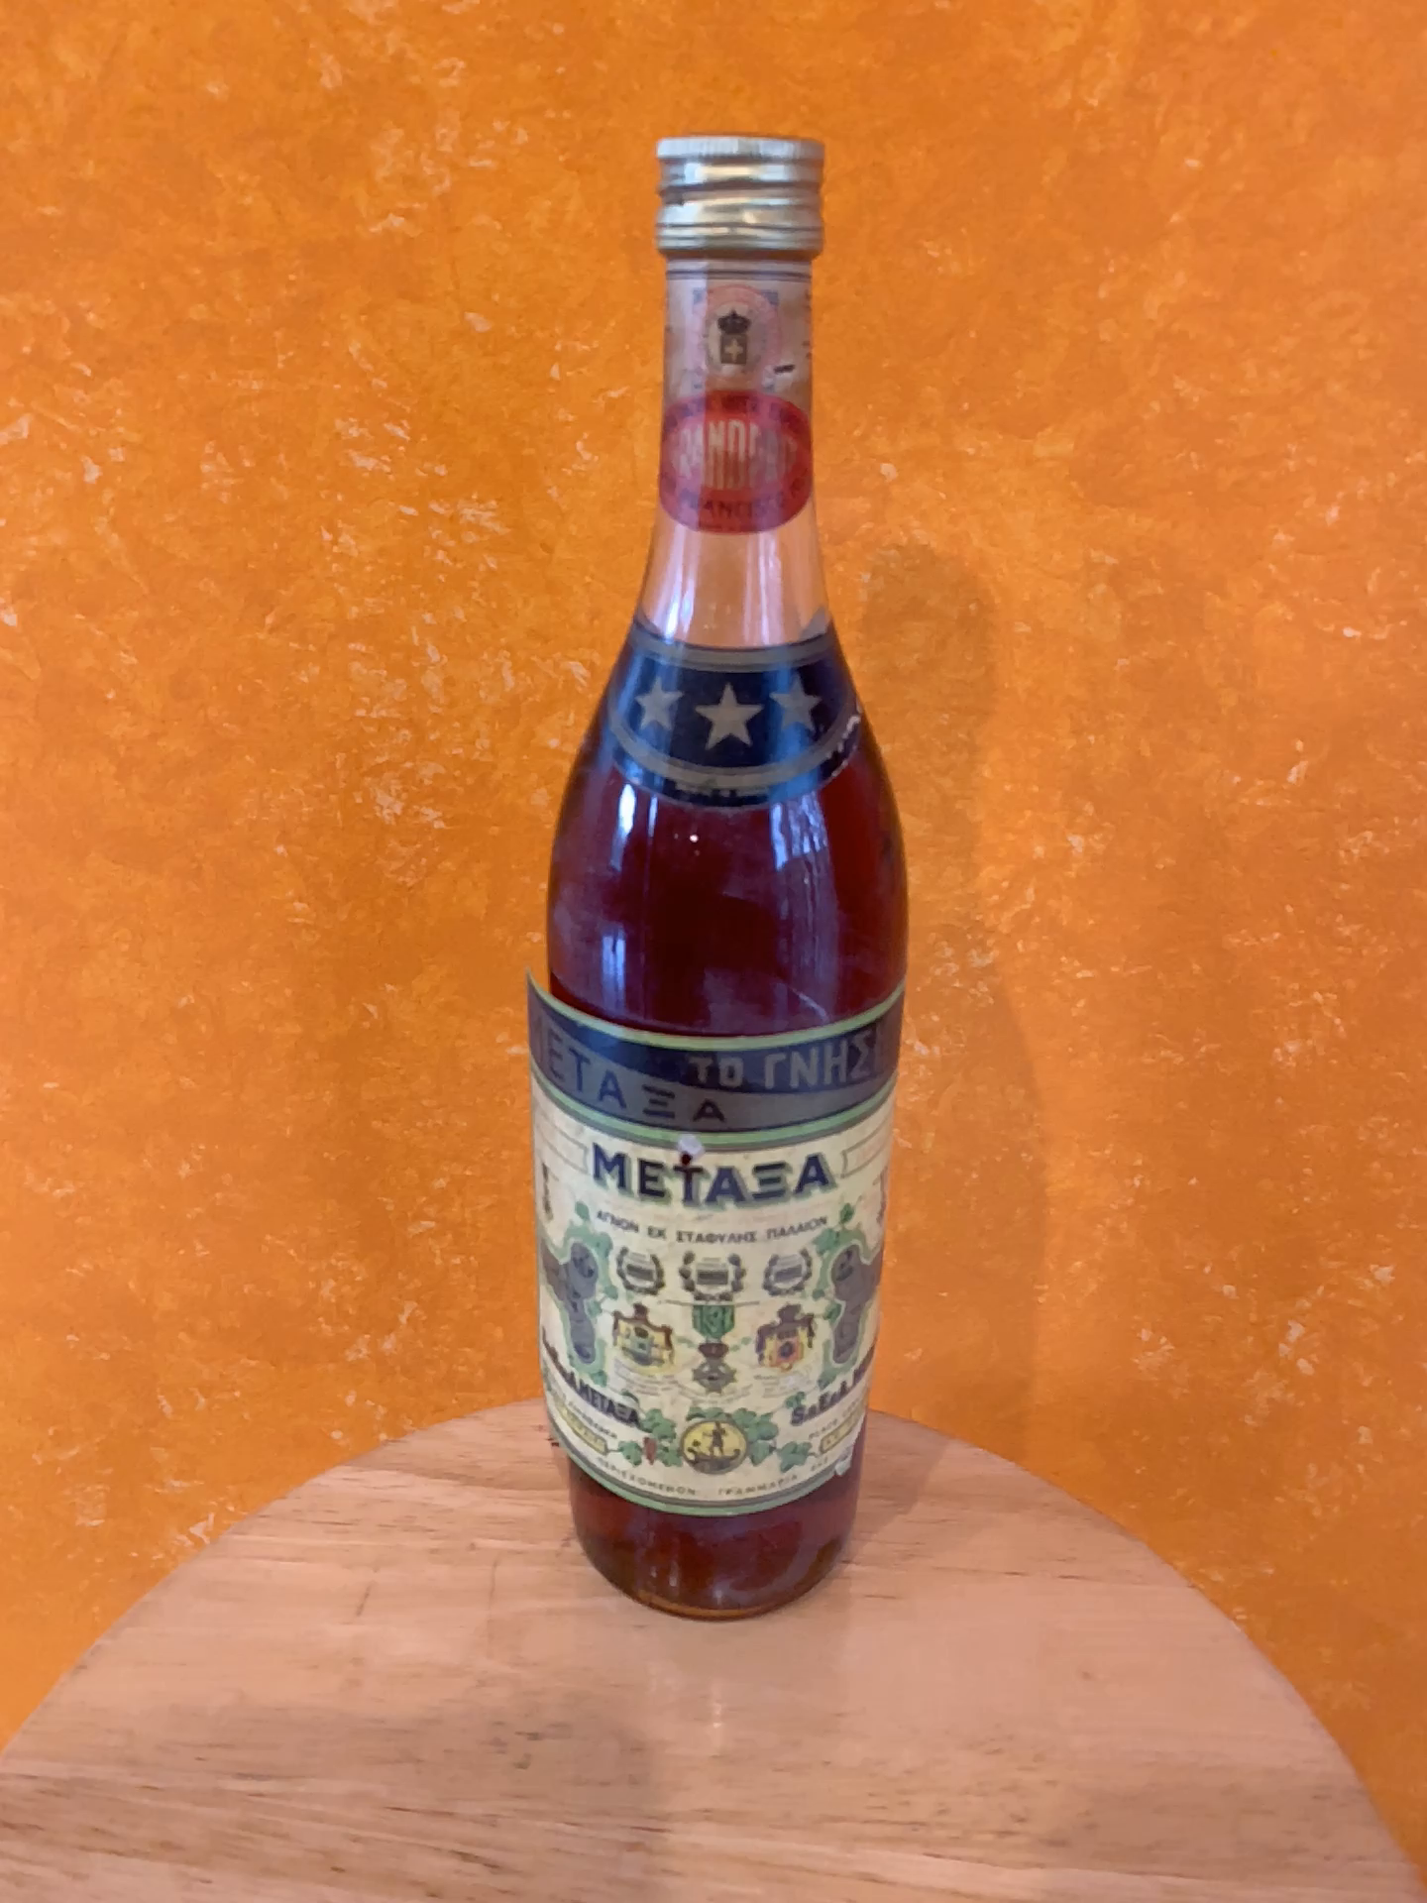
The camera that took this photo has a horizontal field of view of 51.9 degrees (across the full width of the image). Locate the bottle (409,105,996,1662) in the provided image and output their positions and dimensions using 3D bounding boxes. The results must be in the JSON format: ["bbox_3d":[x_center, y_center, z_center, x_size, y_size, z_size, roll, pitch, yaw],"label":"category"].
[{"bbox_3d":[-0.001,0.005,0.295,0.080,0.298,0.070,5,26,6],"label":"bottle"}]
